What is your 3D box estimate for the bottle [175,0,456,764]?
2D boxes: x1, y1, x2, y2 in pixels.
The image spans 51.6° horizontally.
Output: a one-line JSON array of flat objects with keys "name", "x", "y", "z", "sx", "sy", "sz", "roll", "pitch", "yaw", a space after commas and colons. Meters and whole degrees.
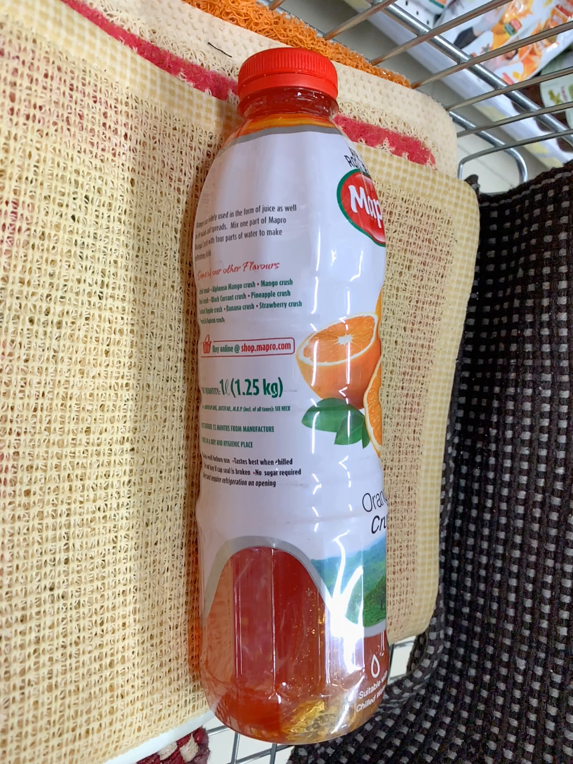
[{"name": "bottle", "x": 0.015, "y": -0.002, "z": 0.220, "sx": 0.080, "sy": 0.070, "sz": 0.240, "roll": -1, "pitch": 93, "yaw": -64}]
